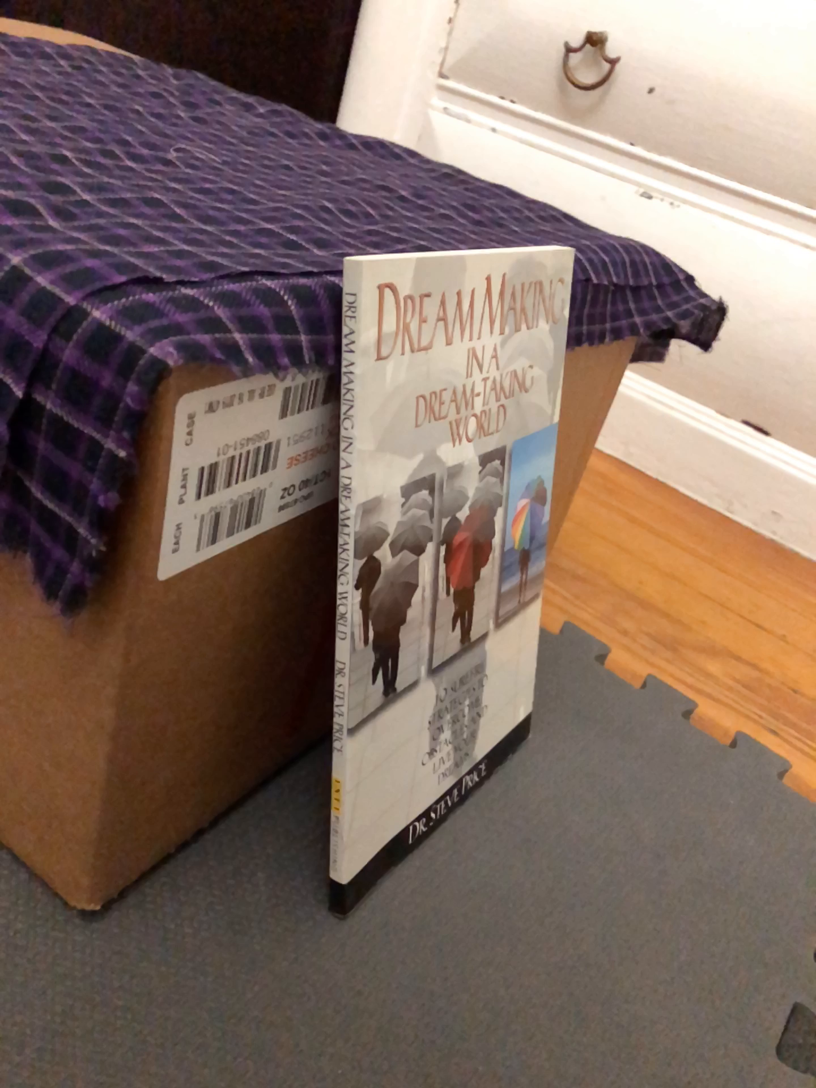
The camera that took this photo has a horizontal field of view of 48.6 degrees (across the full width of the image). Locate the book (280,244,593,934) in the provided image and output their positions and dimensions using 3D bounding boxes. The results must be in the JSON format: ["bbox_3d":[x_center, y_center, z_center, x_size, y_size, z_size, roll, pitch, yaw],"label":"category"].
[{"bbox_3d":[0.014,0.008,0.333,0.020,0.219,0.151,17,26,32],"label":"book"}]
